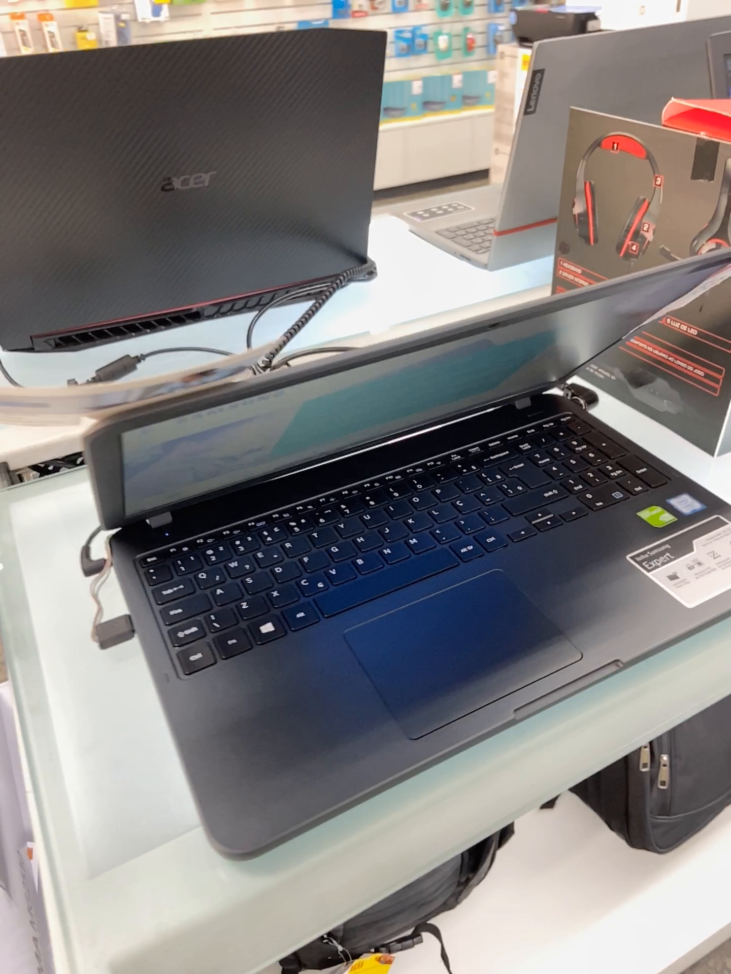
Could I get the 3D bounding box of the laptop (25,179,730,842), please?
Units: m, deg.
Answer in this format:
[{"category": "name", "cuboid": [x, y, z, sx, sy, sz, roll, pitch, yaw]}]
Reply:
[{"category": "laptop", "cuboid": [0.043, -0.031, 0.428, 0.372, 0.170, 0.238, -19, 39, -20]}]
